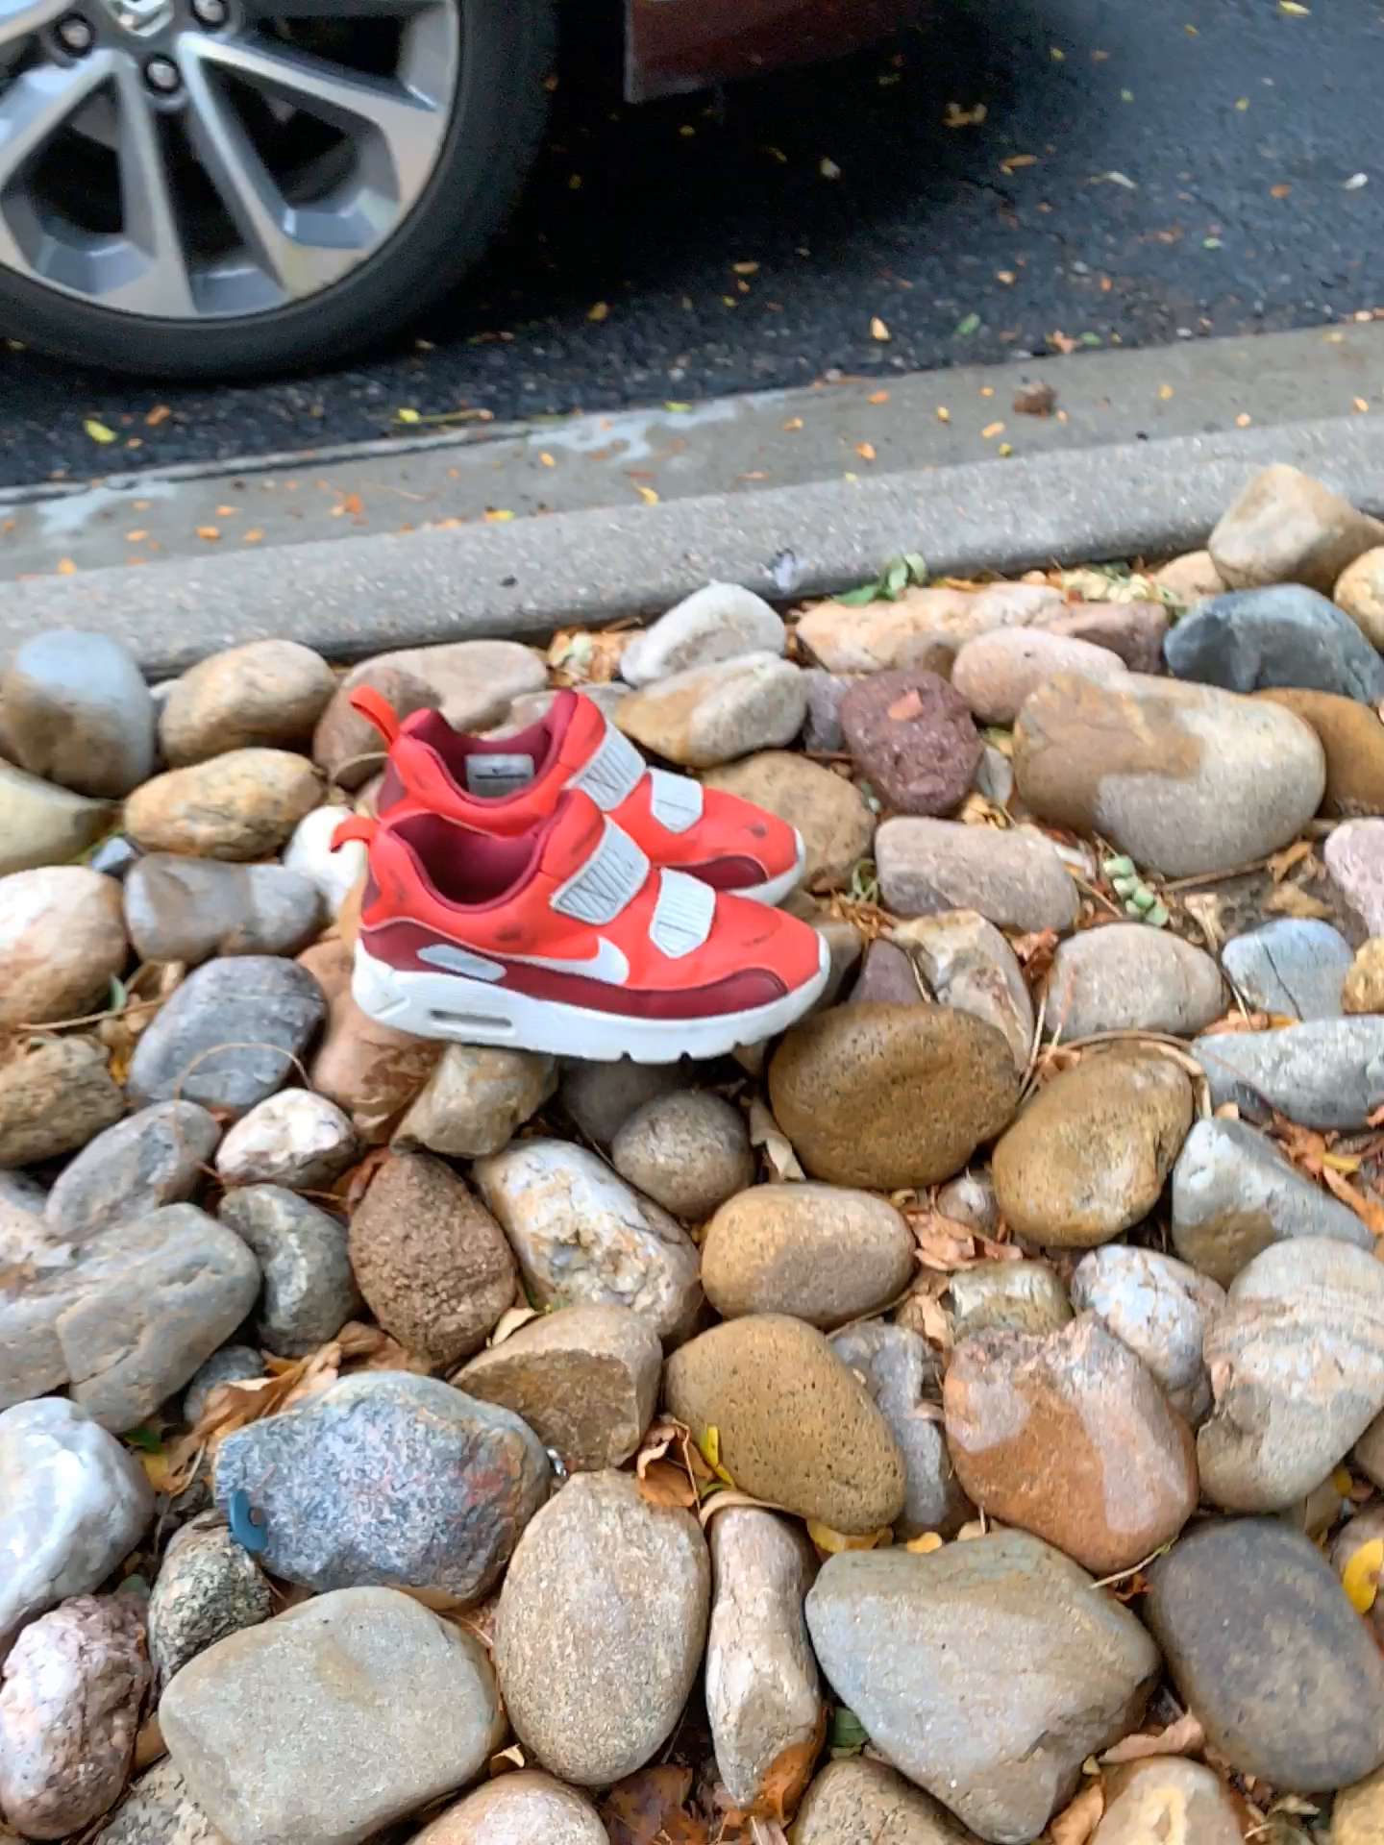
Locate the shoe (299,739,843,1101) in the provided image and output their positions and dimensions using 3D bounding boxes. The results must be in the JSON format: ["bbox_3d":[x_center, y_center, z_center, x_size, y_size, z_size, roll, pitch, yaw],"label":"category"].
[{"bbox_3d":[-0.052,0.000,0.609,0.210,0.100,0.080,8,38,-4],"label":"shoe"}]

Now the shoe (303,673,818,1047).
[{"bbox_3d":[-0.060,-0.027,0.657,0.210,0.100,0.080,13,38,-8],"label":"shoe"}]
